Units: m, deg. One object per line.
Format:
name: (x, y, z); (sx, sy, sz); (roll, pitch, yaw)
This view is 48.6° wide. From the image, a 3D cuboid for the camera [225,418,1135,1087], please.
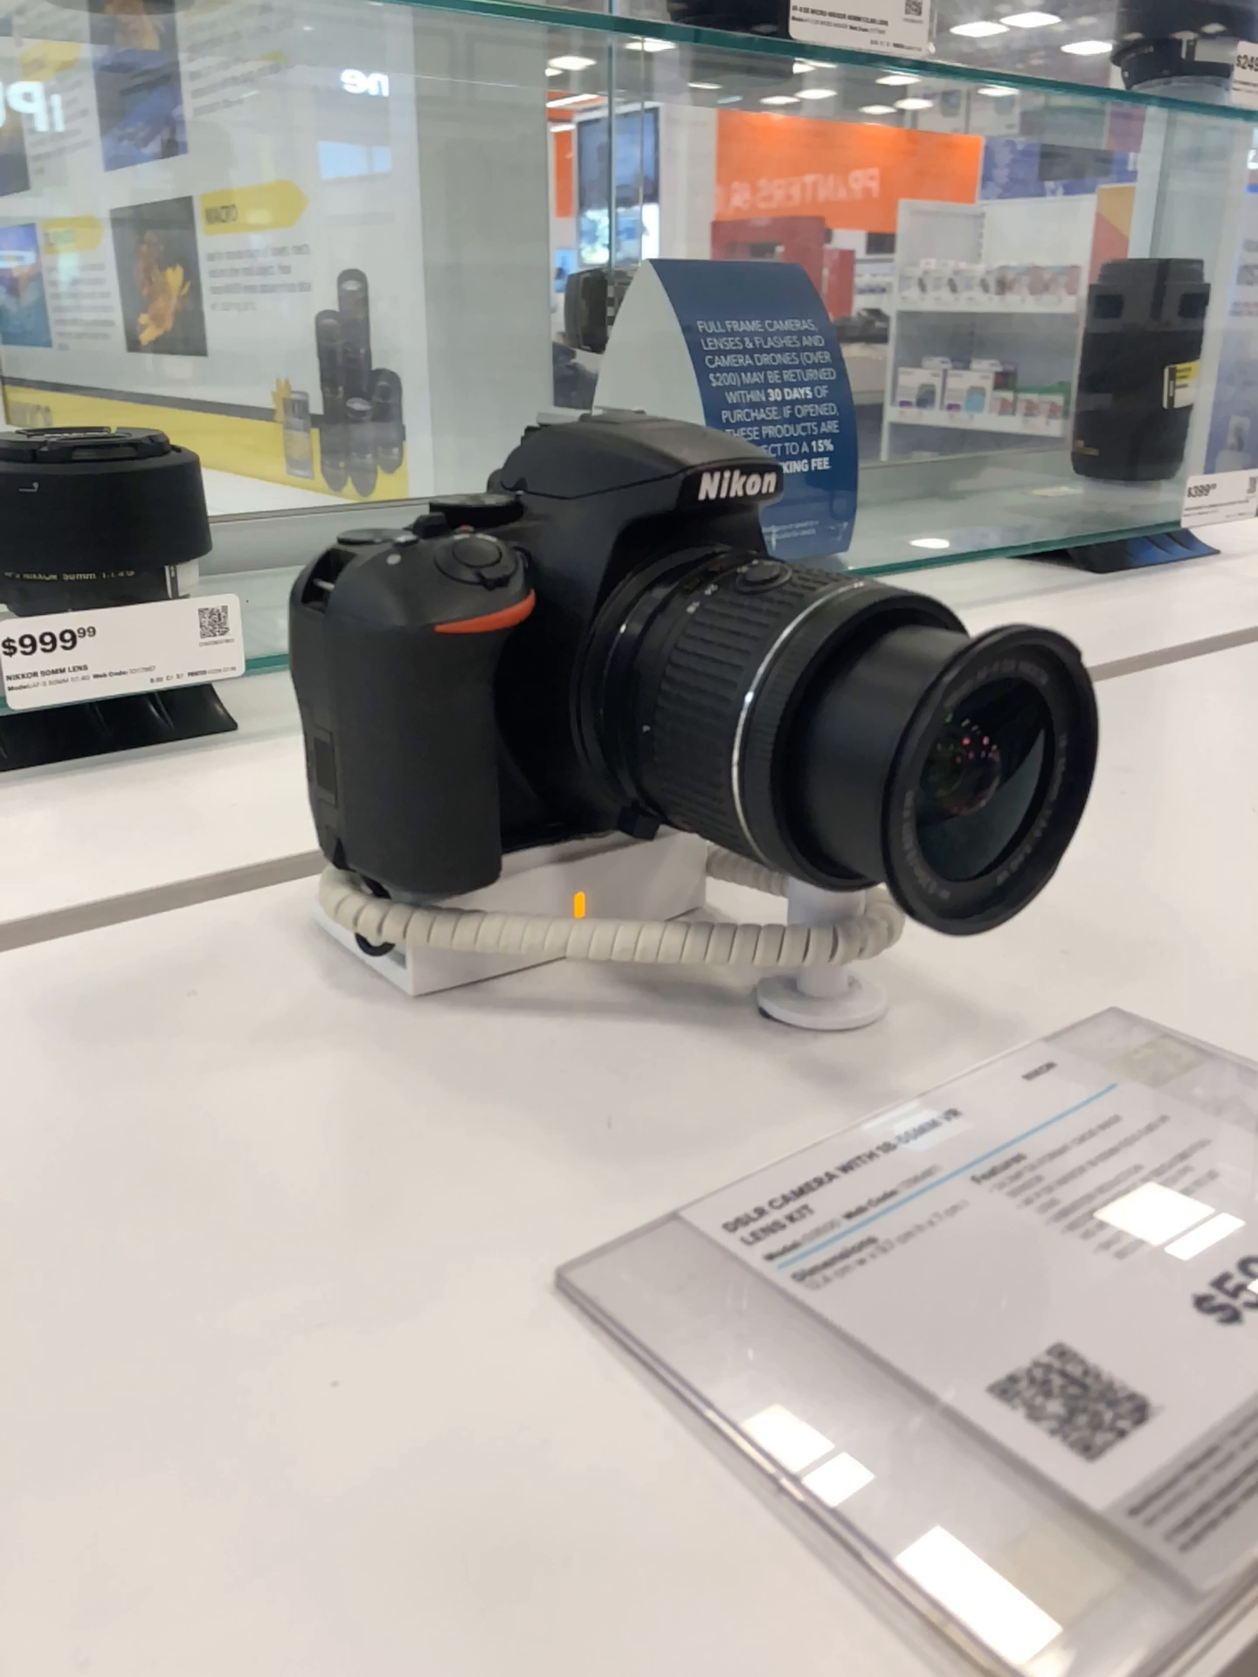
camera: (0.001, -0.040, 0.322); (0.120, 0.100, 0.170); (-14, 24, -34)
